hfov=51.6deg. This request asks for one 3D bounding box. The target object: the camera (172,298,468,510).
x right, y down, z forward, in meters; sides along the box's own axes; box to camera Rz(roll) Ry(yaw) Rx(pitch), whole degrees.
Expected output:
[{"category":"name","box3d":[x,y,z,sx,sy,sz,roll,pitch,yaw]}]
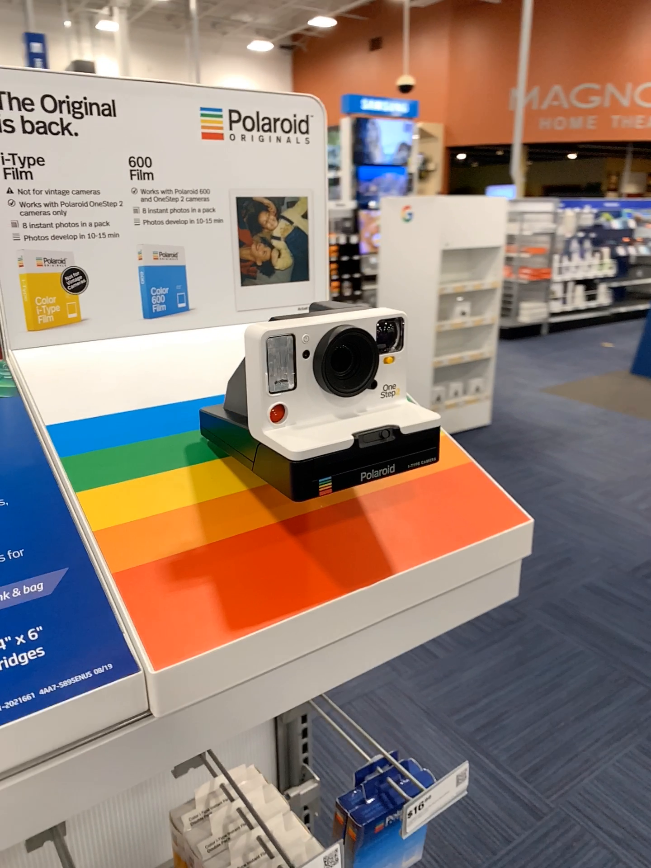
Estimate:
[{"category":"camera","box3d":[-0.008,-0.033,0.451,0.130,0.090,0.150,-13,22,-33]}]
